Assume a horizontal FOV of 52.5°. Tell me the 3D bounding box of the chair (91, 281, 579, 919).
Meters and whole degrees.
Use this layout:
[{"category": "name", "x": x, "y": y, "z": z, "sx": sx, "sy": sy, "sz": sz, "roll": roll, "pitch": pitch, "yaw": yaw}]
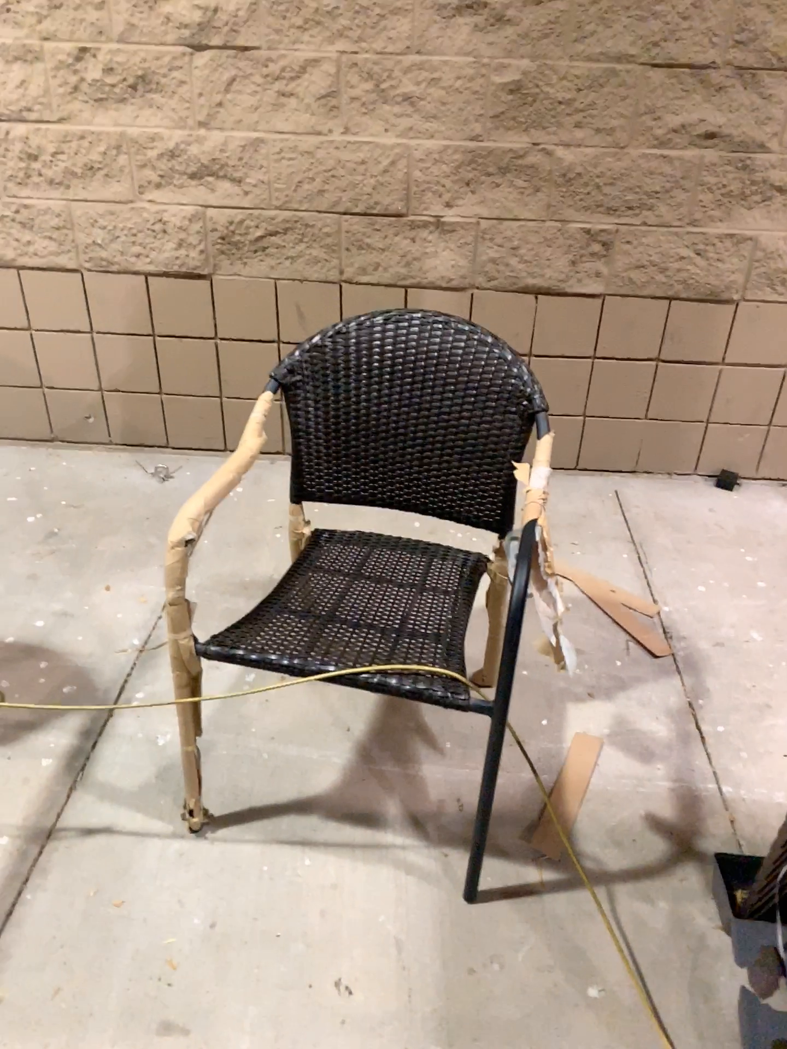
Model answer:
[{"category": "chair", "x": -0.040, "y": 0.100, "z": 1.402, "sx": 0.575, "sy": 0.839, "sz": 0.600, "roll": 9, "pitch": 32, "yaw": 10}]
